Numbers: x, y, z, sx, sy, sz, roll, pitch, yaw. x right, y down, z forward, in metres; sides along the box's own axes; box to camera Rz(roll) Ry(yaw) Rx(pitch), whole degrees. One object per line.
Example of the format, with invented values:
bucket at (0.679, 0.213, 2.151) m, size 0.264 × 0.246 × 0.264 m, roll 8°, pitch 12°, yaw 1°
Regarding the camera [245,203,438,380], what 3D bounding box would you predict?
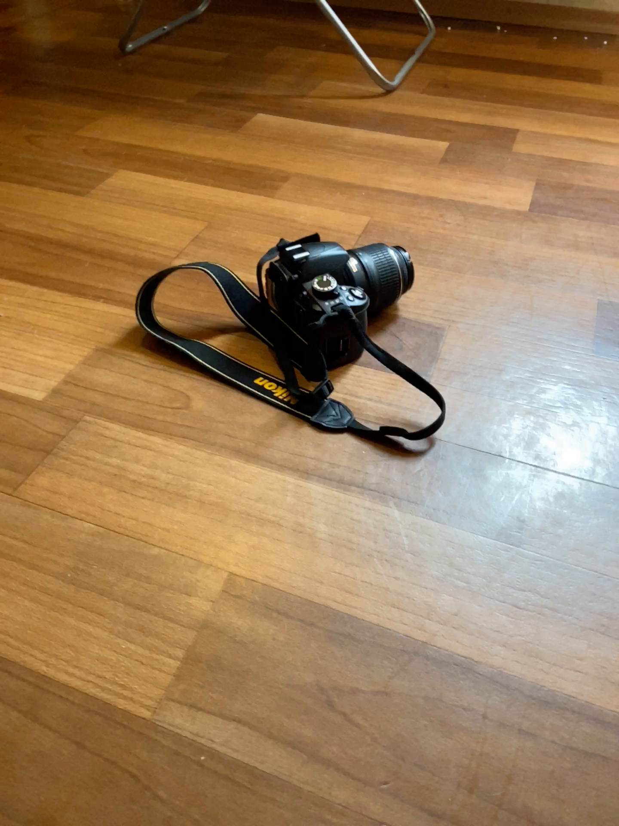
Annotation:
camera at (0.031, -0.133, 0.673) m, size 0.153 × 0.100 × 0.120 m, roll -23°, pitch 49°, yaw -22°
